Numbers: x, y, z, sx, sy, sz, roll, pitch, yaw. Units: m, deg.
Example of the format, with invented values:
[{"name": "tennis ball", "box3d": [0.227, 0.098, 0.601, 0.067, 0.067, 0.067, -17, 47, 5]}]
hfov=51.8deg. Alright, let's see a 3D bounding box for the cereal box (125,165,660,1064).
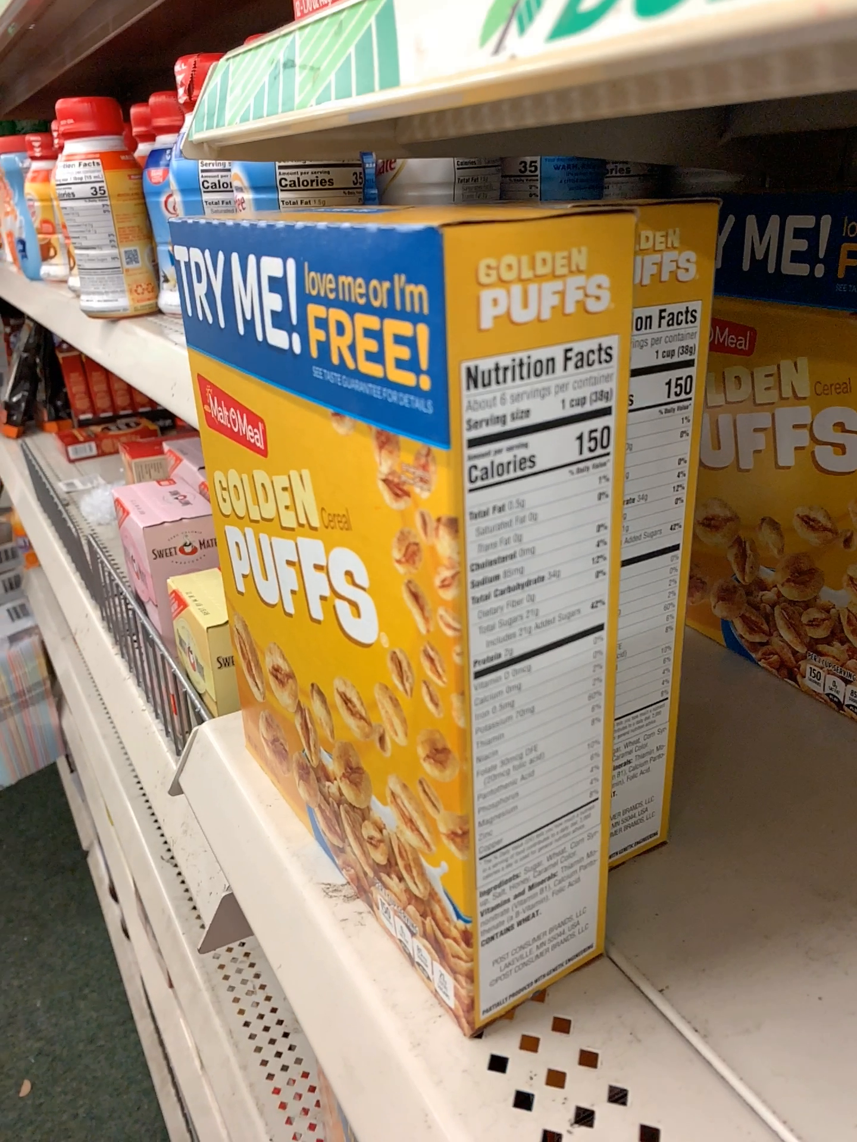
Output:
[{"name": "cereal box", "box3d": [-0.024, -0.005, 0.284, 0.060, 0.219, 0.191, -16, 27, -28]}]
